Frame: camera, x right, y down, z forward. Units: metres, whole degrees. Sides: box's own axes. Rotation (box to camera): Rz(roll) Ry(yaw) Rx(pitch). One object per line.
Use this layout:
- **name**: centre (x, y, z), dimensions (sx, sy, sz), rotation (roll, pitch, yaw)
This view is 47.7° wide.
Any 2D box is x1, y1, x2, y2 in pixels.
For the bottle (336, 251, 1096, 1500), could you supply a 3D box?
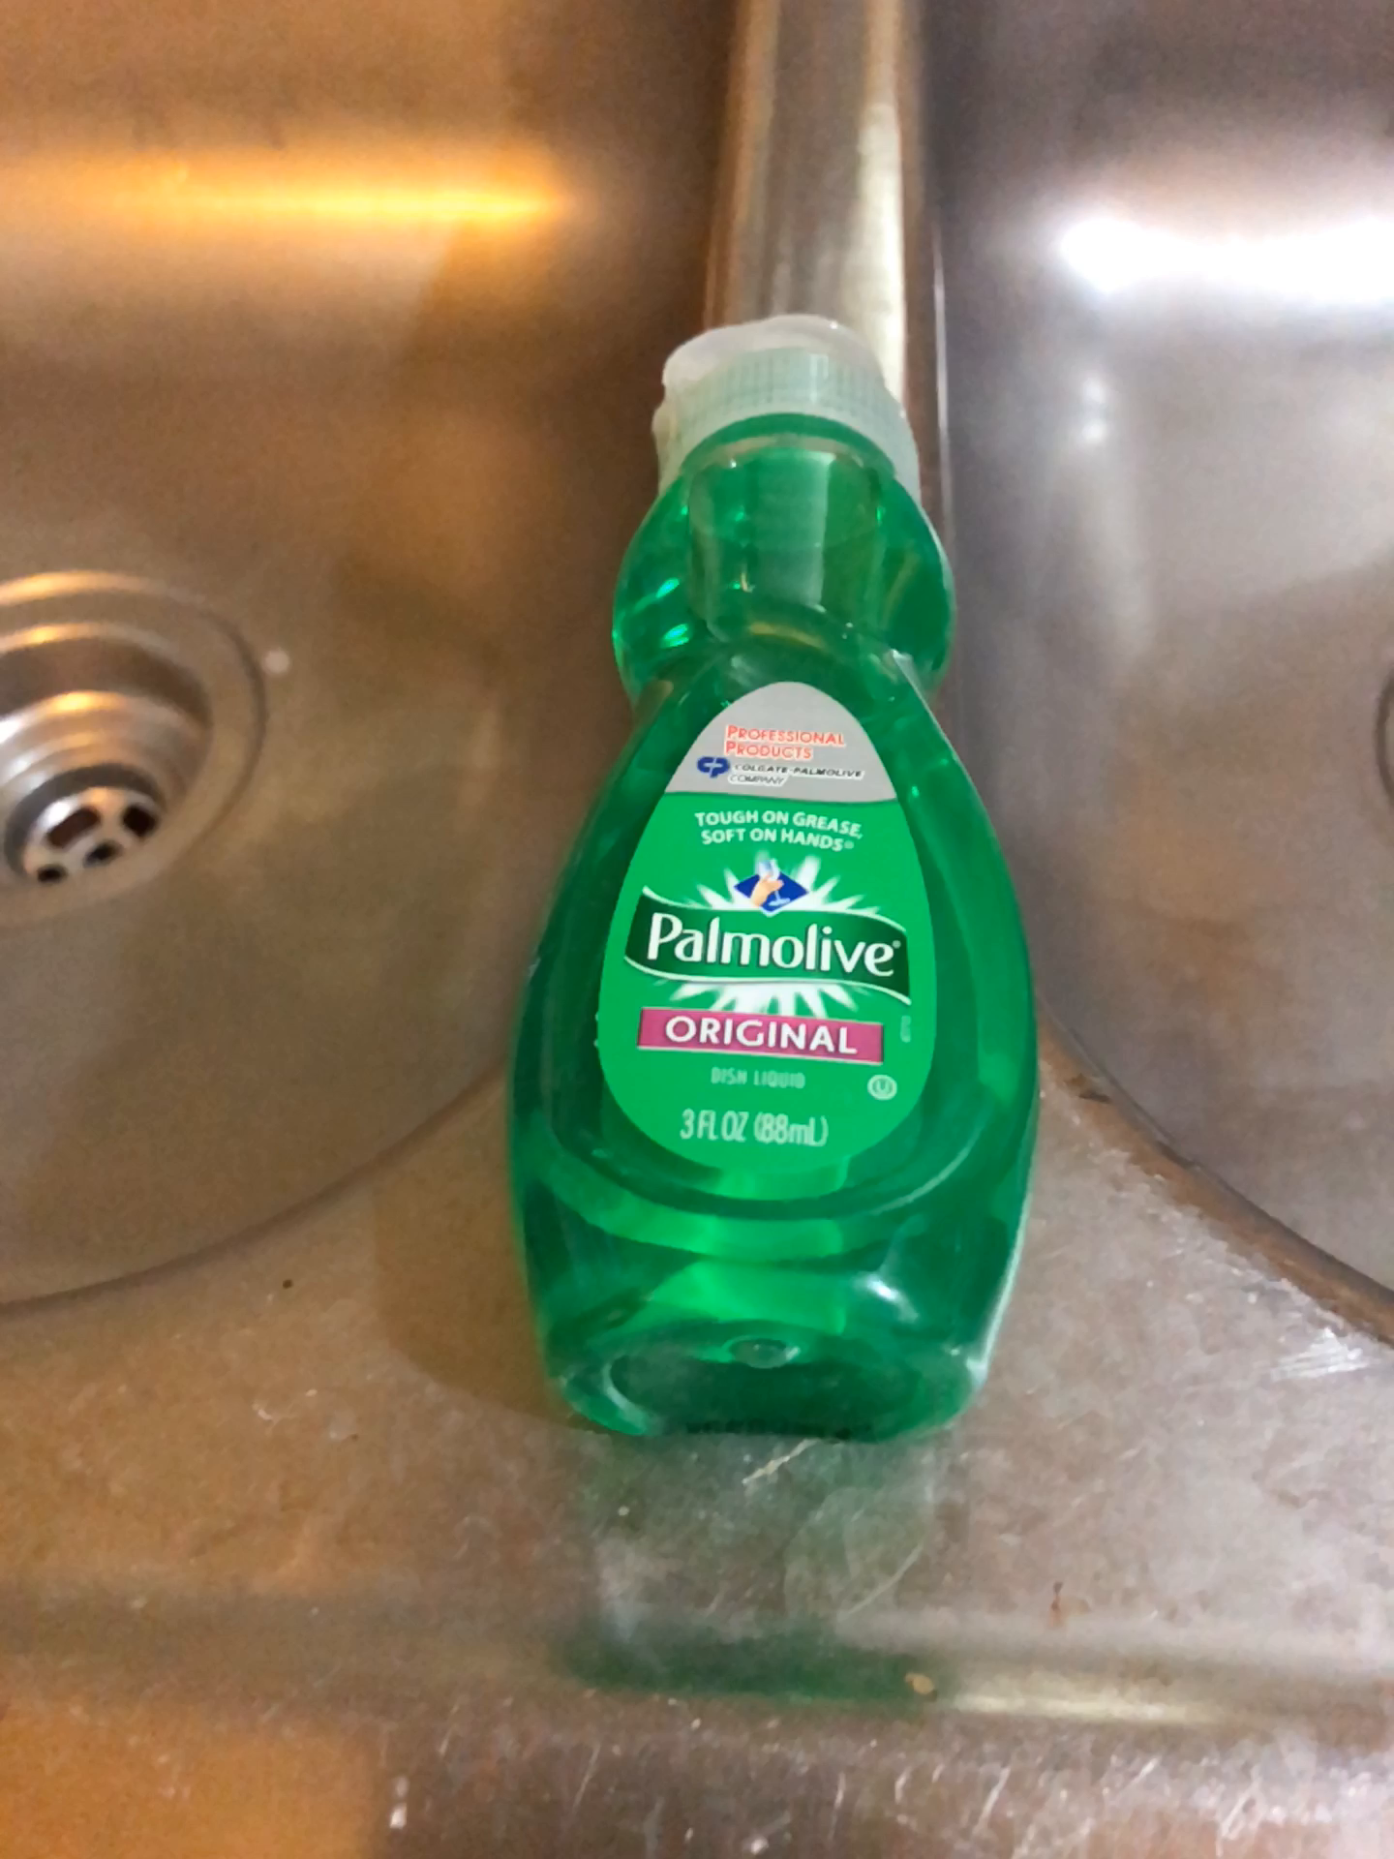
- **bottle**: centre (0.005, -0.016, 0.154), dimensions (0.050, 0.030, 0.130), rotation (1, 54, 4)
